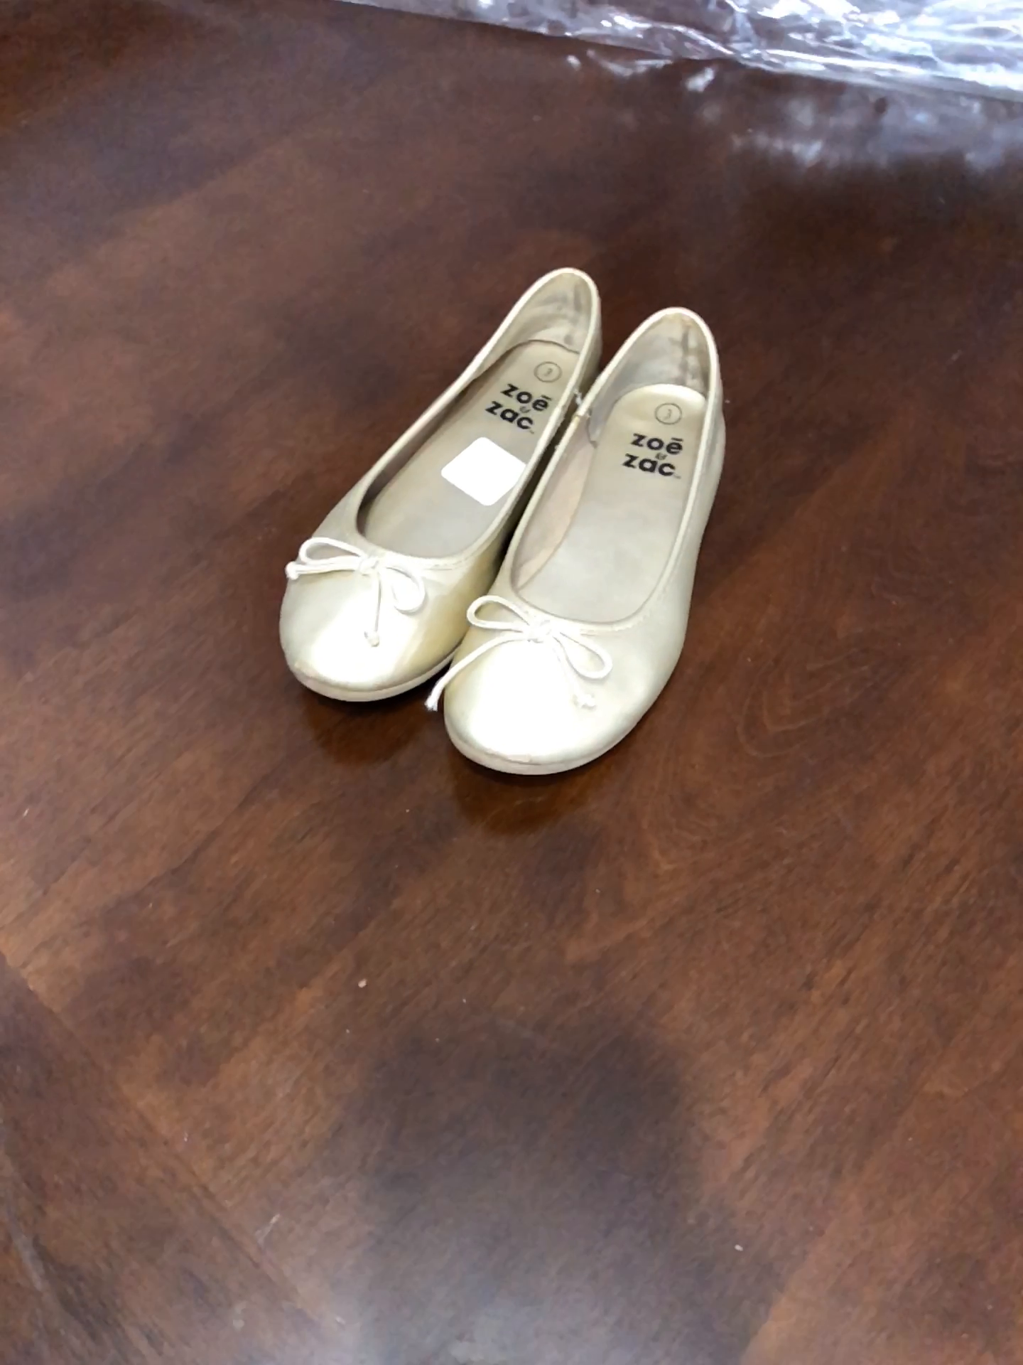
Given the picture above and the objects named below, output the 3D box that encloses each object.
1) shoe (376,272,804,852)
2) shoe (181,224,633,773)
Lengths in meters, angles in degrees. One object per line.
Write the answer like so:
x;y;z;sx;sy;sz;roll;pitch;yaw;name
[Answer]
0.039;-0.059;0.468;0.090;0.070;0.230;20;60;12;shoe
-0.032;-0.086;0.478;0.080;0.070;0.230;22;60;13;shoe
